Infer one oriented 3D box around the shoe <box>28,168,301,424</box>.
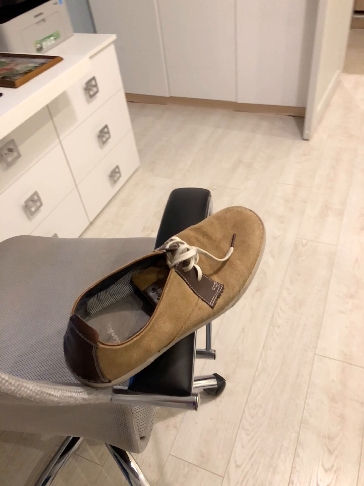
[{"bbox_3d":[-0.001,0.036,0.469,0.120,0.079,0.311,30,55,34],"label":"shoe"}]
